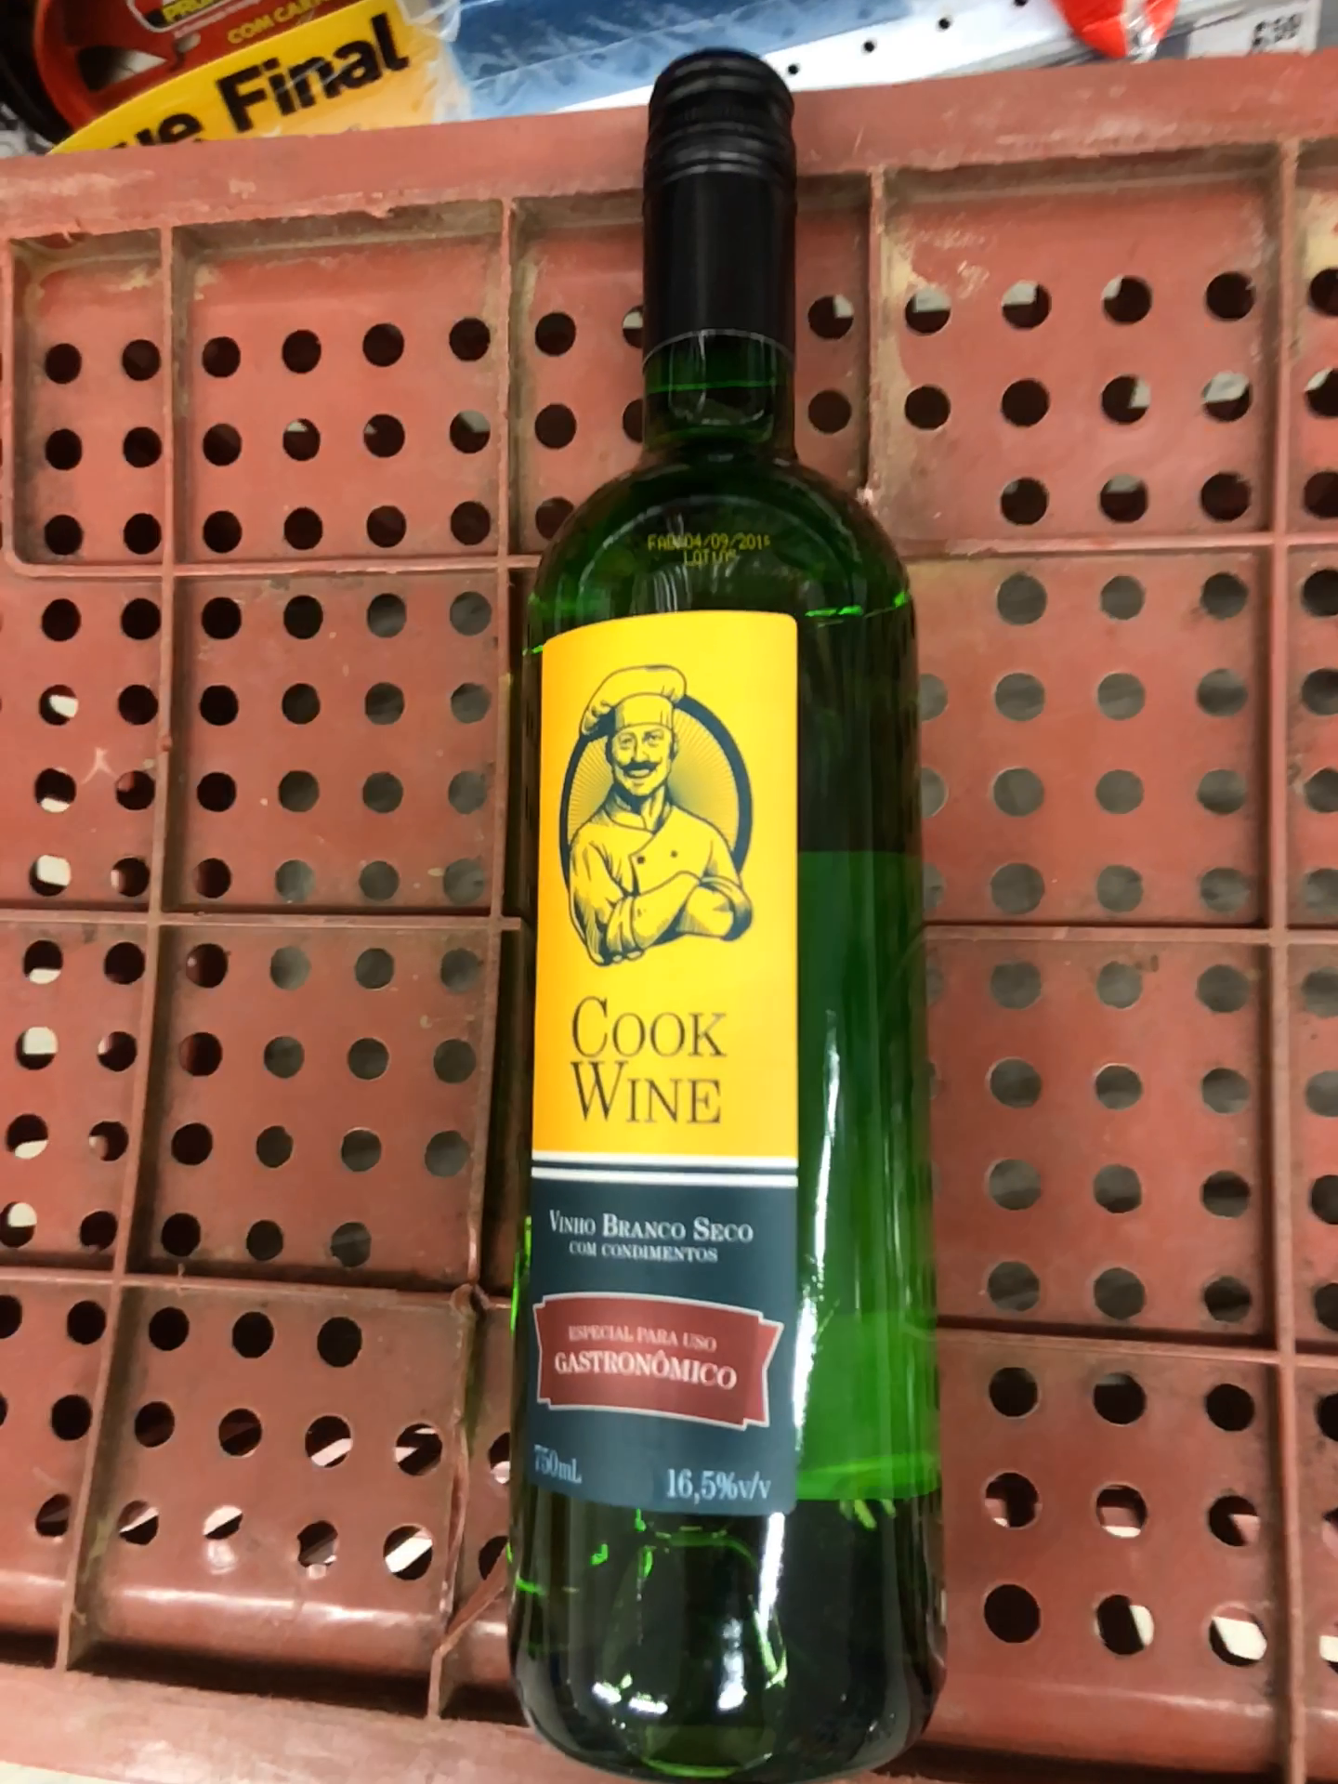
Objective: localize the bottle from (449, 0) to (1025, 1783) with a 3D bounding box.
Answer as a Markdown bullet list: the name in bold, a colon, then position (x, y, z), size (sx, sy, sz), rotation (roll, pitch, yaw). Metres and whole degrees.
- **bottle**: position (0.013, -0.020, 0.264), size (0.080, 0.060, 0.320), rotation (-3, 83, 22)
